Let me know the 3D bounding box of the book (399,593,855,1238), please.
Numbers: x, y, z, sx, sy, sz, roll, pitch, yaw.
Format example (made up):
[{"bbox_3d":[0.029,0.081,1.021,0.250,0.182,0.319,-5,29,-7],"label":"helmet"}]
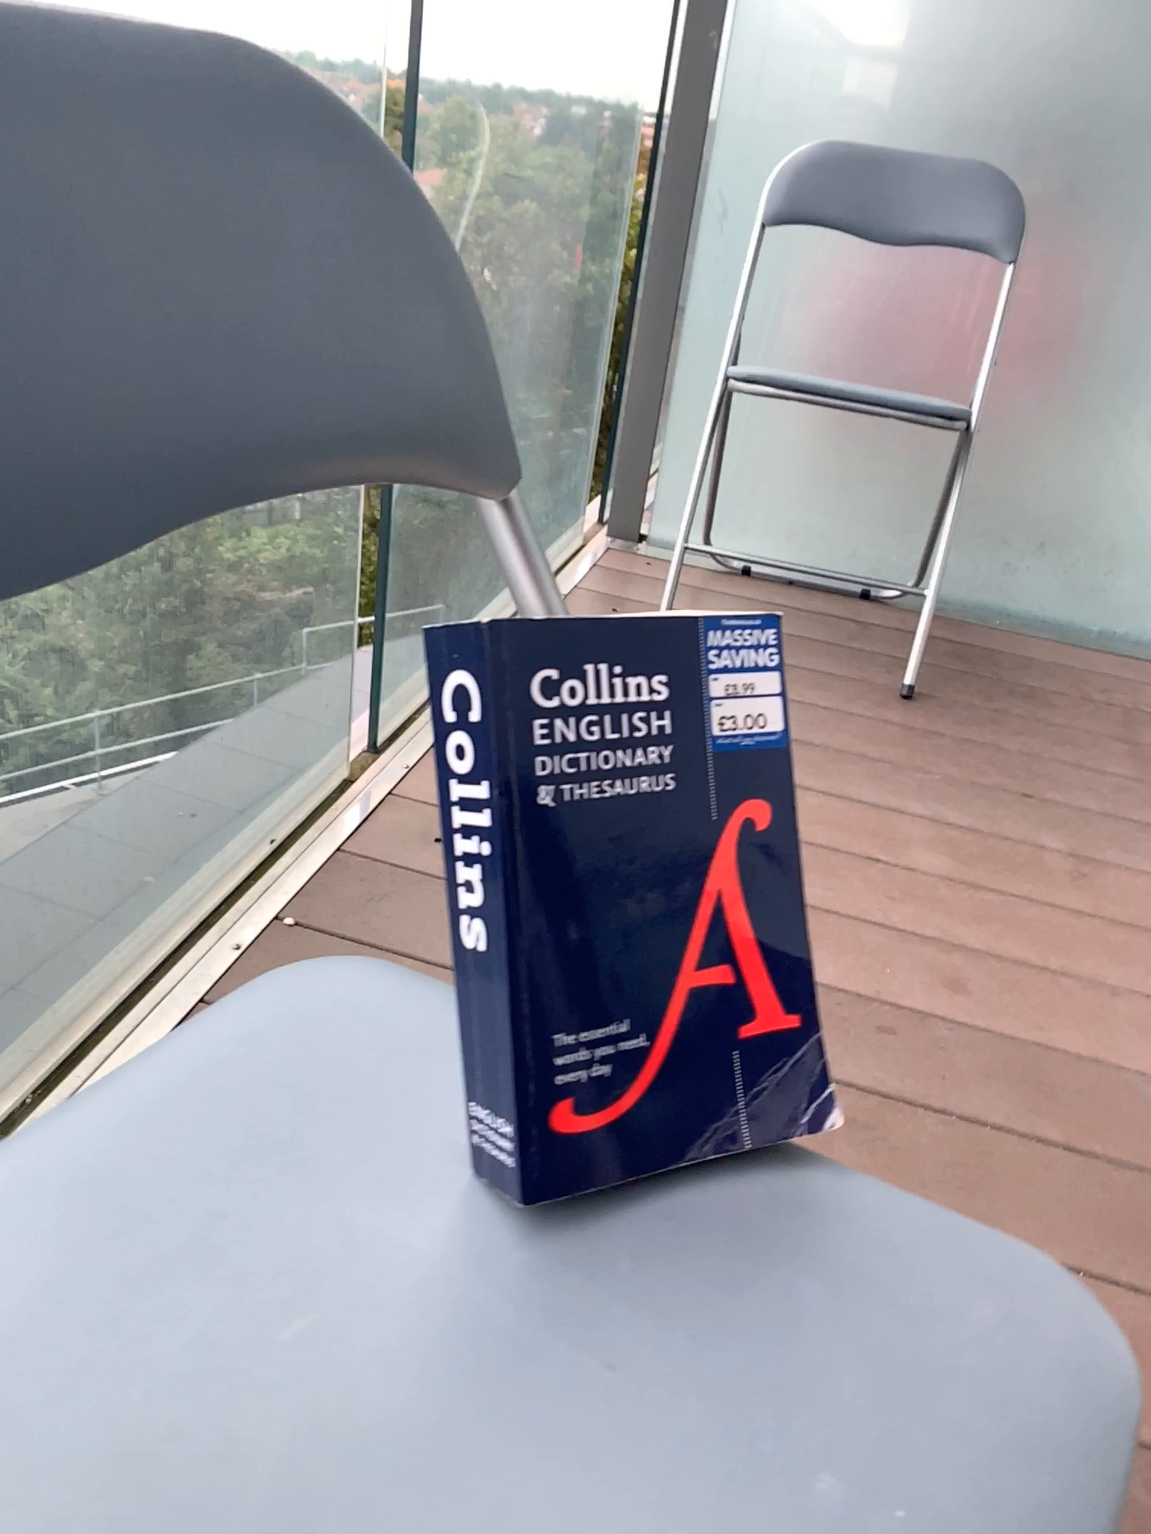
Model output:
[{"bbox_3d":[0.020,0.042,0.425,0.140,0.200,0.060,-6,4,-25],"label":"book"}]
